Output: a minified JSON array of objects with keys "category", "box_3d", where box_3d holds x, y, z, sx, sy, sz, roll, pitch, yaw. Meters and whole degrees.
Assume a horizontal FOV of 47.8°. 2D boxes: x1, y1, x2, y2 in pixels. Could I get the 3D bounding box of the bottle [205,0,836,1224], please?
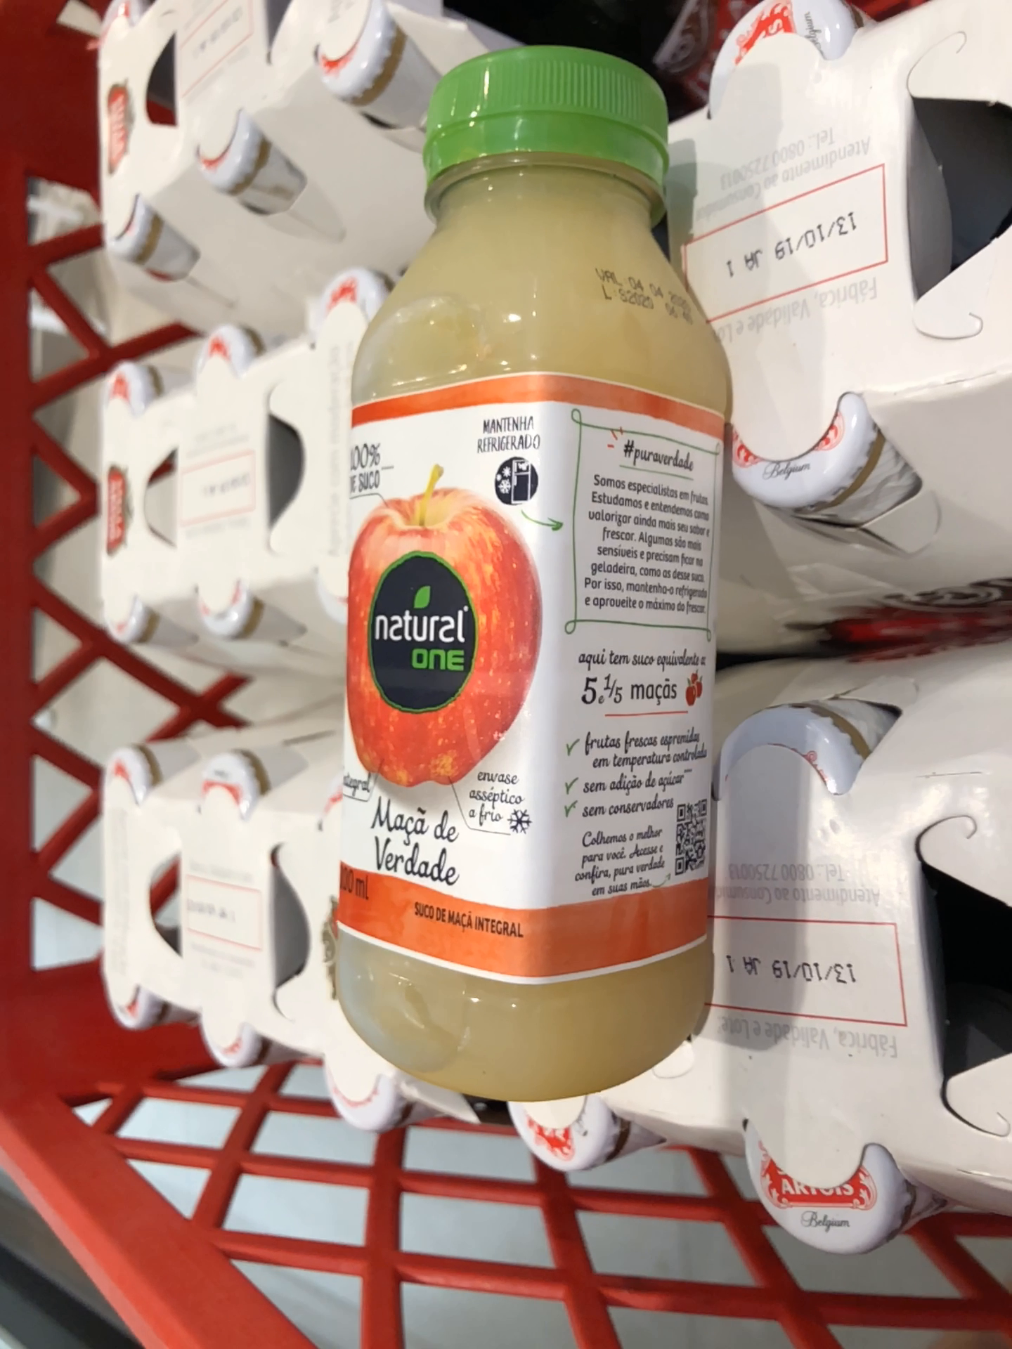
[{"category":"bottle","box_3d":[0.001,-0.024,0.179,0.060,0.060,0.180,6,92,47]}]
